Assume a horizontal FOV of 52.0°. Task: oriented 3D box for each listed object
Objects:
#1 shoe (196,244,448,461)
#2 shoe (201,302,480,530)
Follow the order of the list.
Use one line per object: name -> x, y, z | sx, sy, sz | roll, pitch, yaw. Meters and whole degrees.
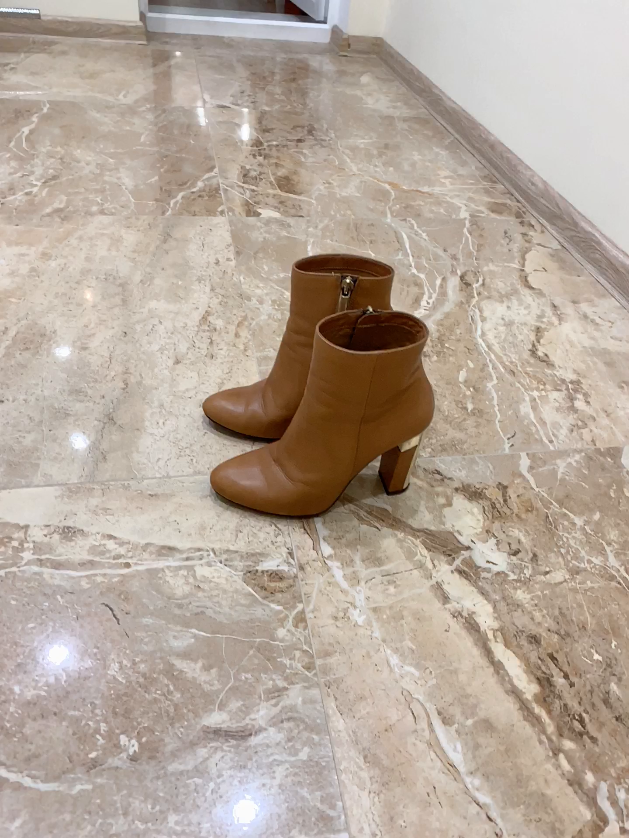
shoe -> -0.001, -0.062, 0.653 | 0.220, 0.185, 0.091 | 4, 41, -3
shoe -> 0.010, -0.002, 0.574 | 0.210, 0.175, 0.090 | -3, 42, -12
